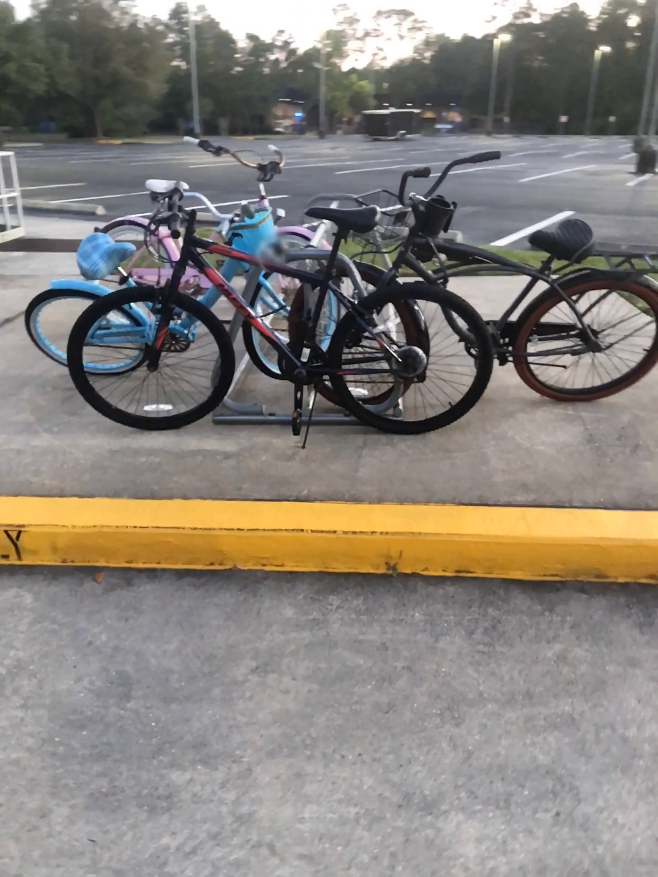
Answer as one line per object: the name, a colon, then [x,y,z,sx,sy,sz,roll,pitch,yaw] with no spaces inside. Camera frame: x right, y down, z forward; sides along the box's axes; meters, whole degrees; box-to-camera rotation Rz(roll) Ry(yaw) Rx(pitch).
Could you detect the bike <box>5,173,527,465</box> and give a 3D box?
bike: [-0.184,-0.469,2.722,1.629,0.932,0.627,1,23,-1]
